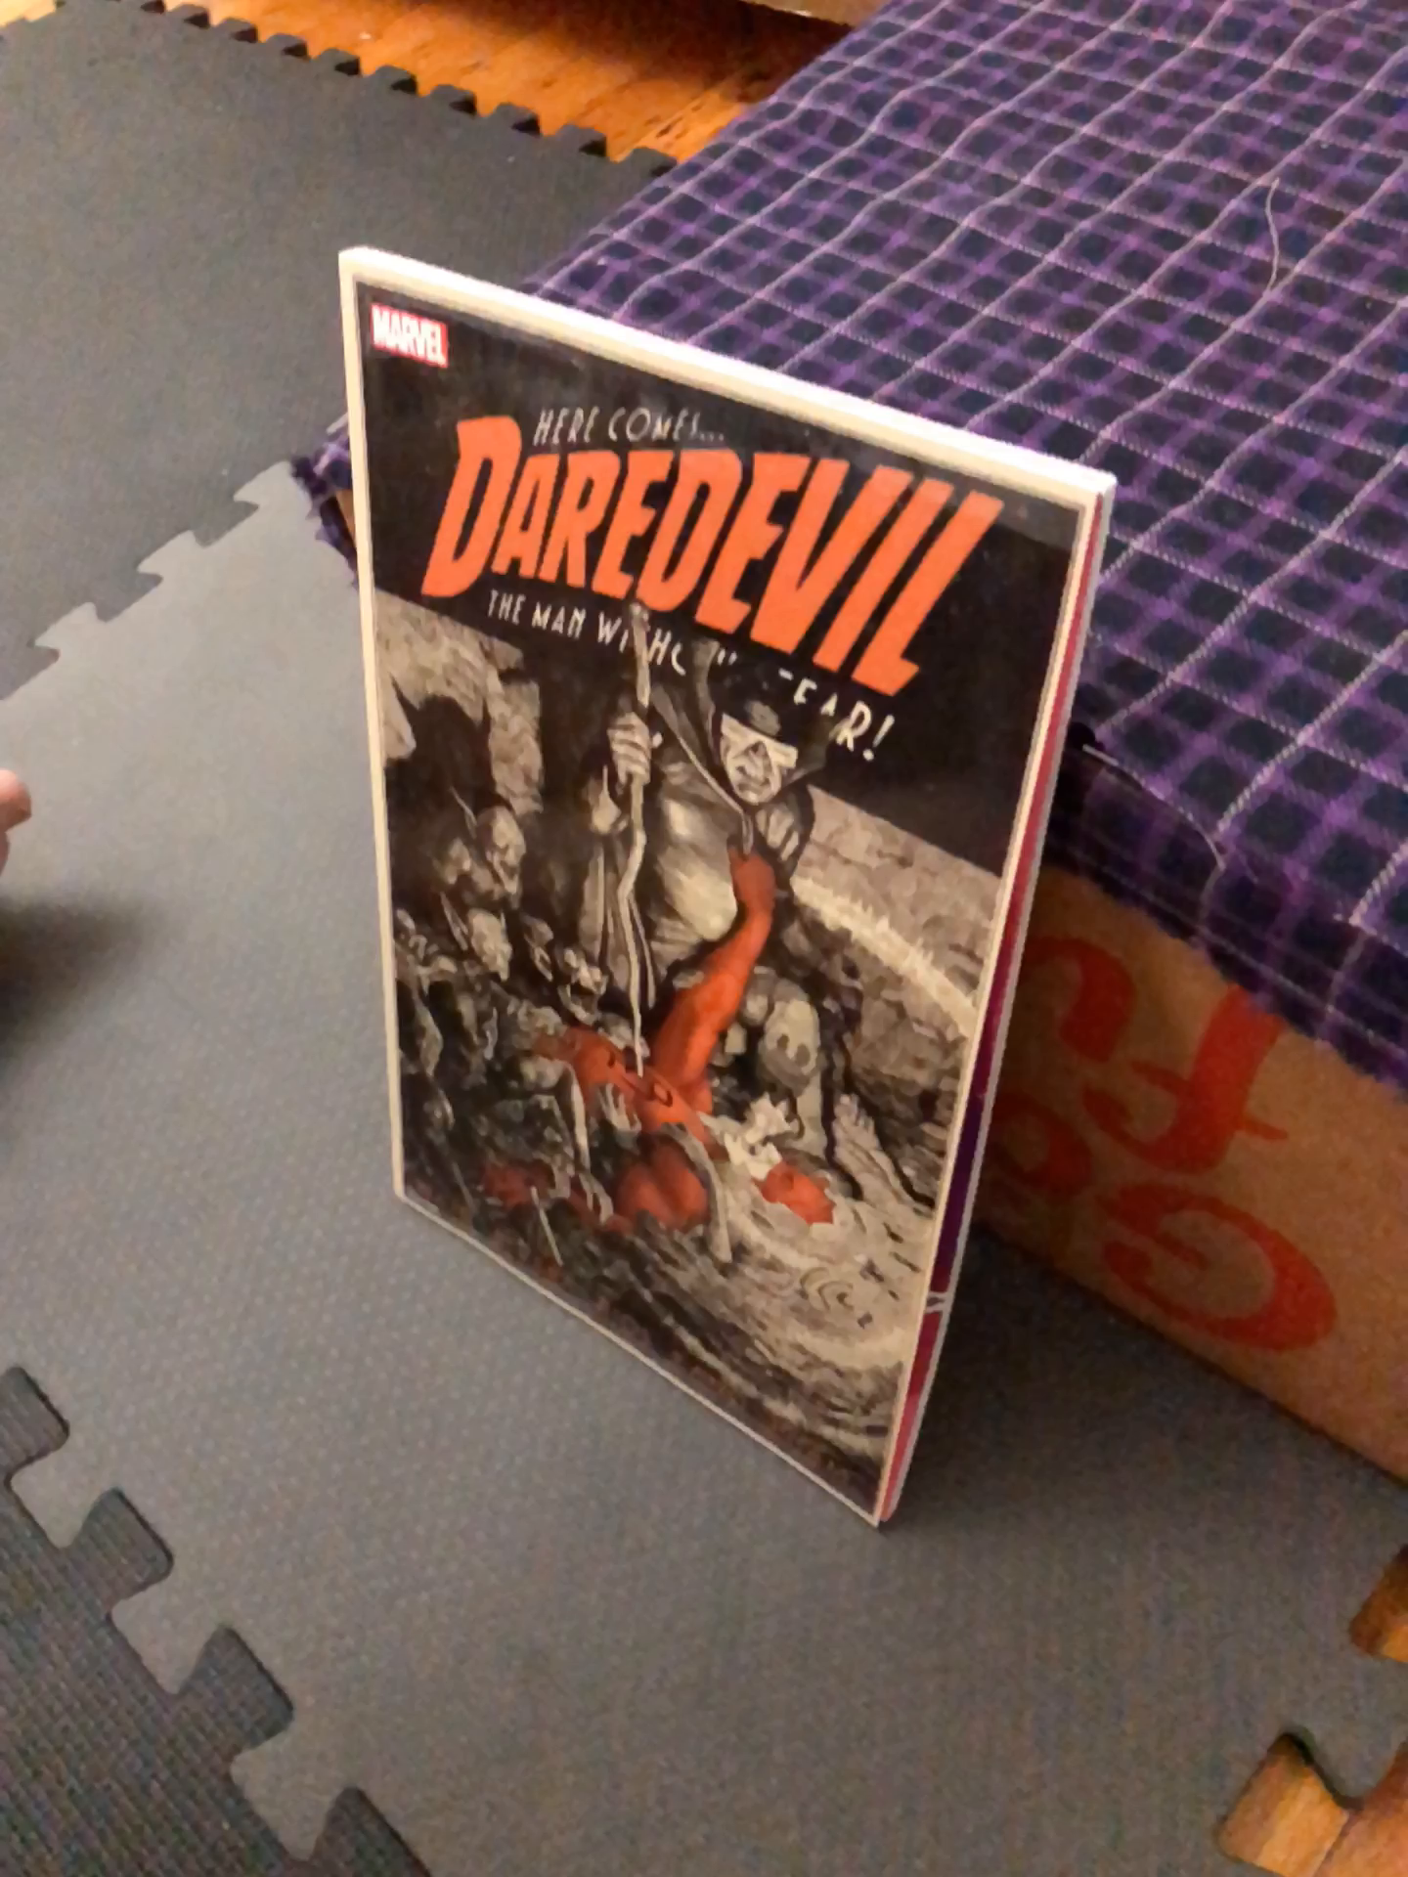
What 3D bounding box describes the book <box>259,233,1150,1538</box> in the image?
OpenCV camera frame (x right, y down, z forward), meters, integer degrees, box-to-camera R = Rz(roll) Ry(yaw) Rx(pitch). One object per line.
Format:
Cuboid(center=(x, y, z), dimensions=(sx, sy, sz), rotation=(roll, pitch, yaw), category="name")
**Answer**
Cuboid(center=(-0.016, -0.001, 0.310), dimensions=(0.160, 0.229, 0.020), rotation=(27, 42, 28), category="book")
